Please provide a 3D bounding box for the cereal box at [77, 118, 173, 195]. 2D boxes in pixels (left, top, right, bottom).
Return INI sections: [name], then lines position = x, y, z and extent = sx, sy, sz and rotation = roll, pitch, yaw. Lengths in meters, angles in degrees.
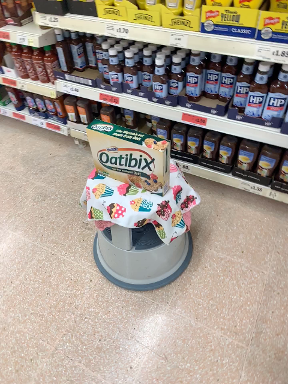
[cereal box]
position = -0.054, -0.109, 0.903
extent = 0.281, 0.168, 0.060
rotation = 19, 52, 20
